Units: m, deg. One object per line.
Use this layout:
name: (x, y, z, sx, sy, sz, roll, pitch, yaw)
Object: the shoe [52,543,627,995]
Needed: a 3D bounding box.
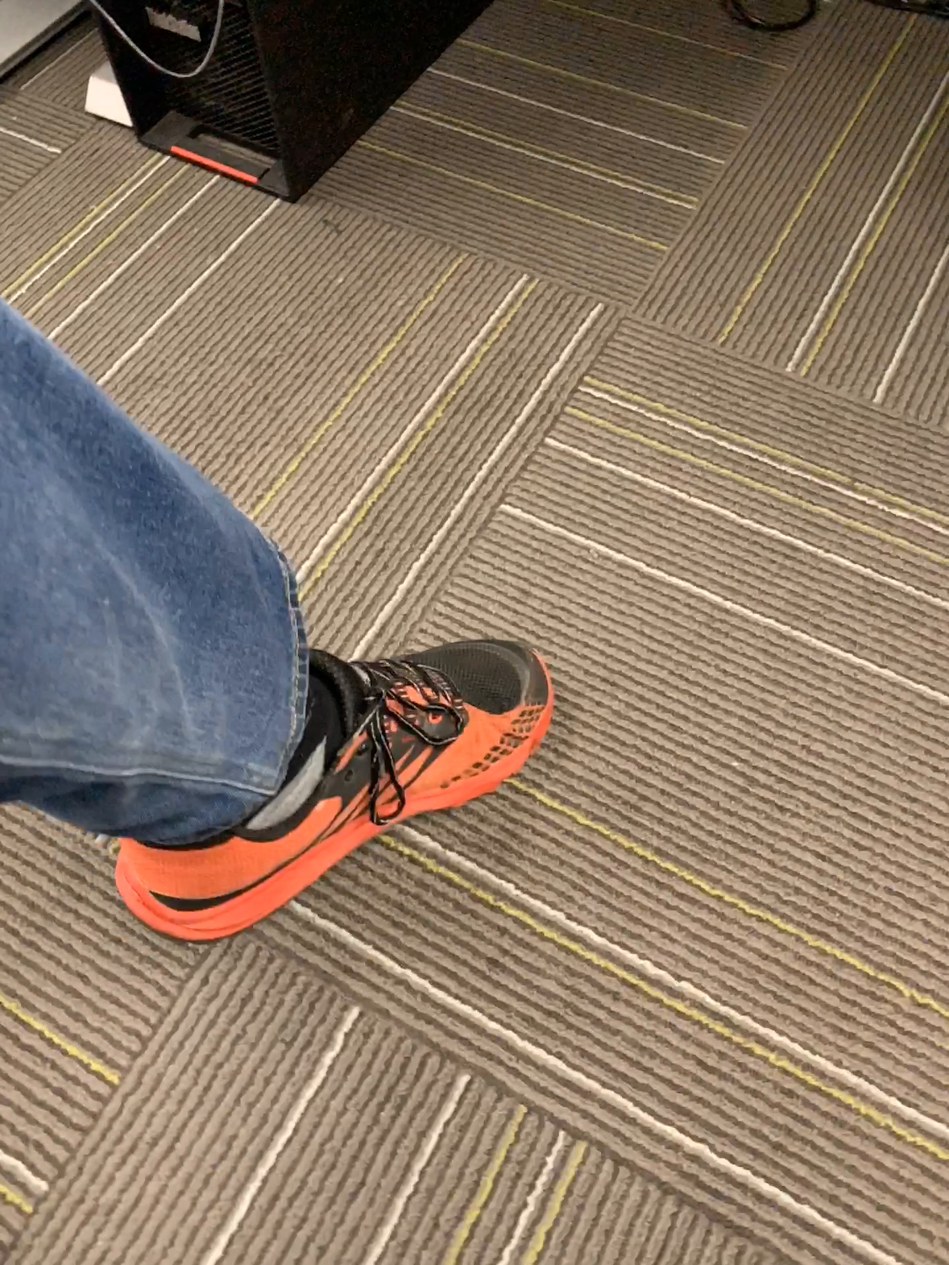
shoe: (-0.070, 0.061, 0.590, 0.314, 0.106, 0.126, -22, 51, -38)
